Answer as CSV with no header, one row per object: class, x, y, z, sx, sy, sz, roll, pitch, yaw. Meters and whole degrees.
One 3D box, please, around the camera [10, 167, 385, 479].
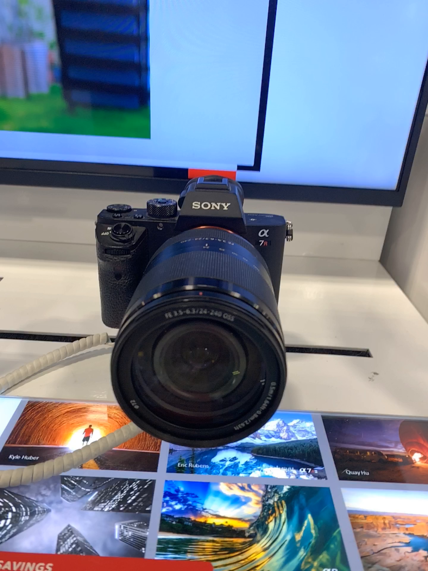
camera,-0.011,0.000,0.253,0.128,0.091,0.185,1,27,-4
